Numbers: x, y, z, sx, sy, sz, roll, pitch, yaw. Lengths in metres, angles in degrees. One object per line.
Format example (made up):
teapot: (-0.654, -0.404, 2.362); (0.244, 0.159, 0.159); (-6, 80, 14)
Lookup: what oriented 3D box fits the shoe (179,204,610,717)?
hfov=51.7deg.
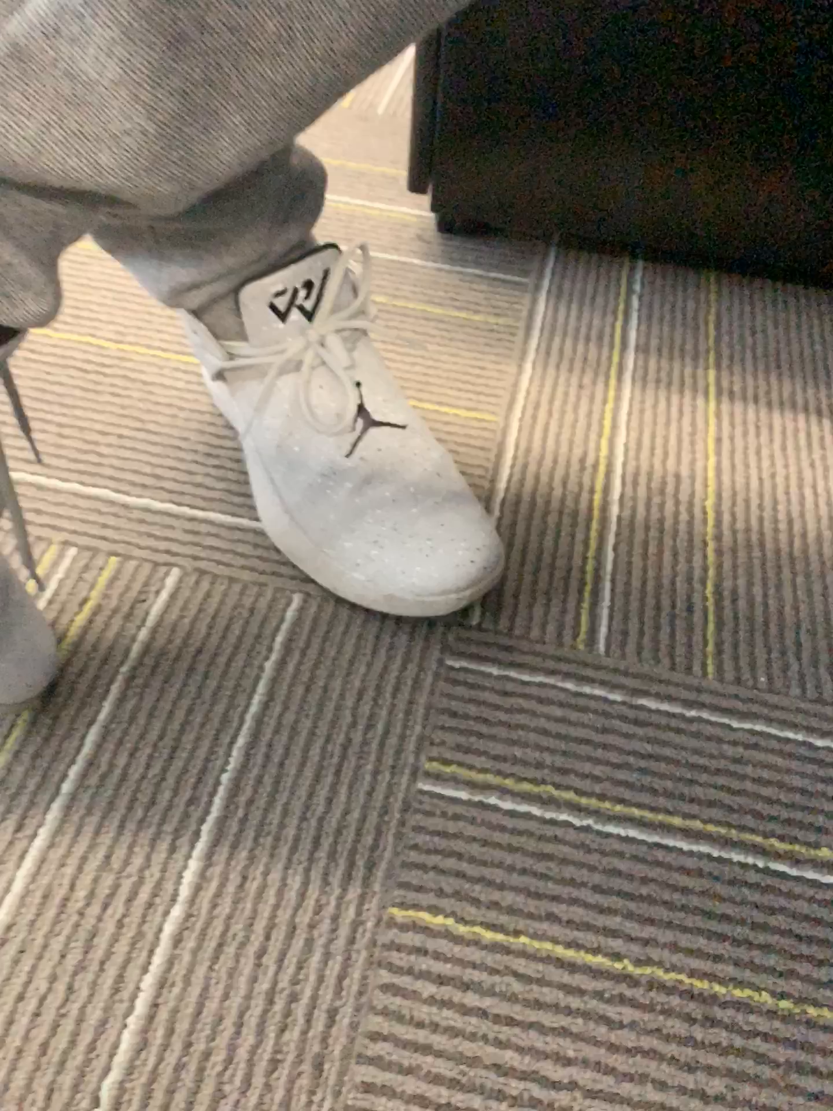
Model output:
shoe: (-0.030, -0.071, 0.551); (0.130, 0.149, 0.281); (-22, 57, -20)

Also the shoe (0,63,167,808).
shoe: (-0.242, -0.032, 0.376); (0.120, 0.279, 0.121); (-21, 38, 7)
